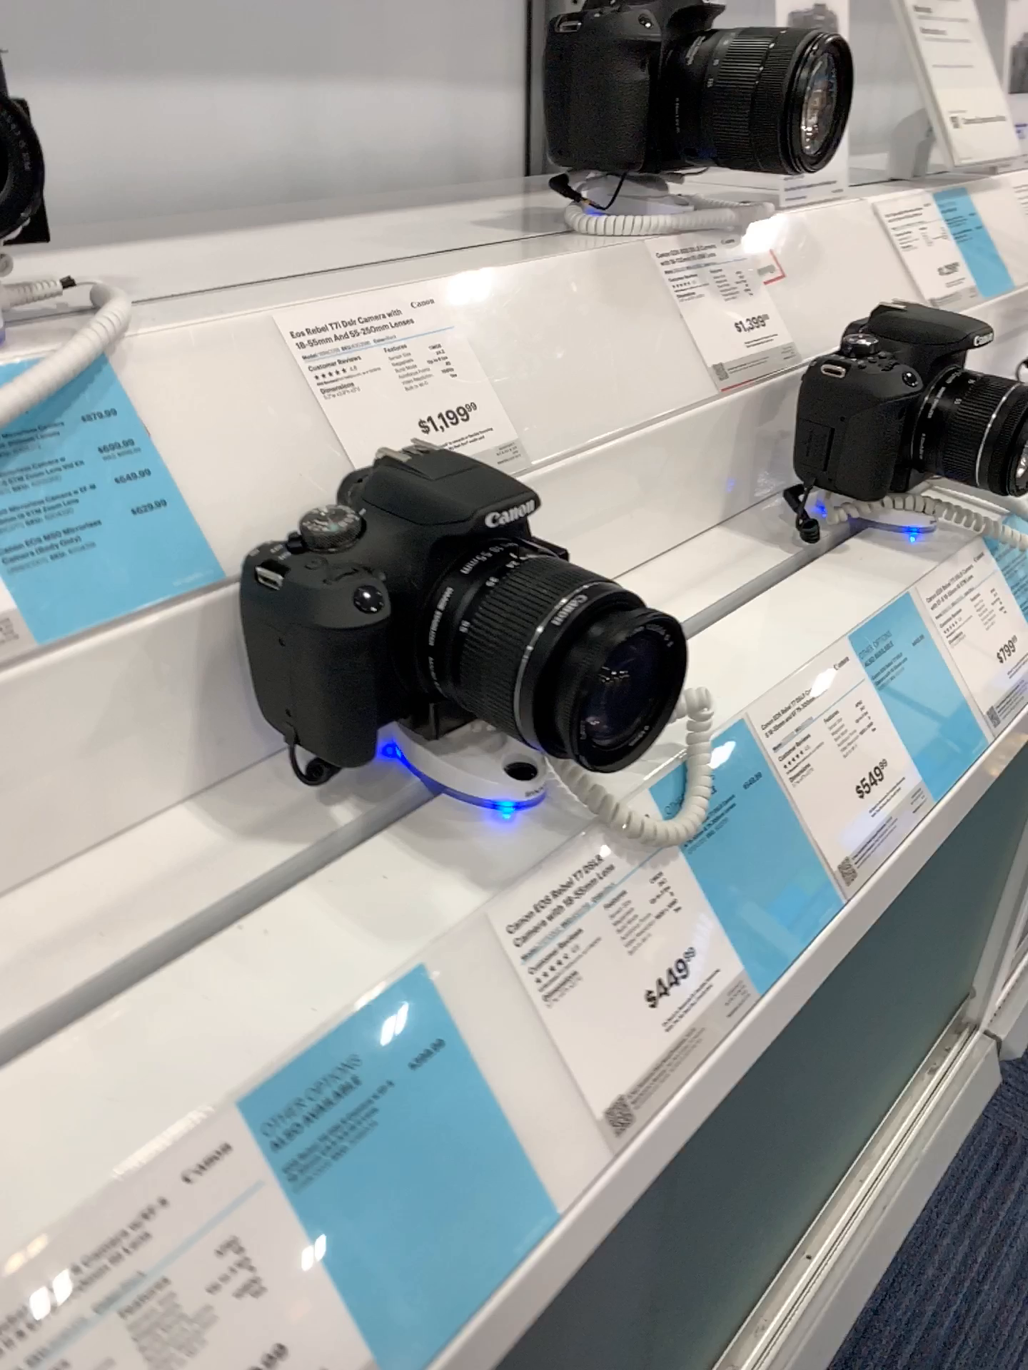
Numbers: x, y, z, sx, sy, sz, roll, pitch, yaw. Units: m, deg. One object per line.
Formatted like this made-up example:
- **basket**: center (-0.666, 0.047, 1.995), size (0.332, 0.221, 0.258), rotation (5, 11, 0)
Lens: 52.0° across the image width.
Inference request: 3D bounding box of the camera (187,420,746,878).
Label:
- **camera**: center (-0.016, -0.027, 0.397), size (0.150, 0.090, 0.130), rotation (22, 37, 32)
